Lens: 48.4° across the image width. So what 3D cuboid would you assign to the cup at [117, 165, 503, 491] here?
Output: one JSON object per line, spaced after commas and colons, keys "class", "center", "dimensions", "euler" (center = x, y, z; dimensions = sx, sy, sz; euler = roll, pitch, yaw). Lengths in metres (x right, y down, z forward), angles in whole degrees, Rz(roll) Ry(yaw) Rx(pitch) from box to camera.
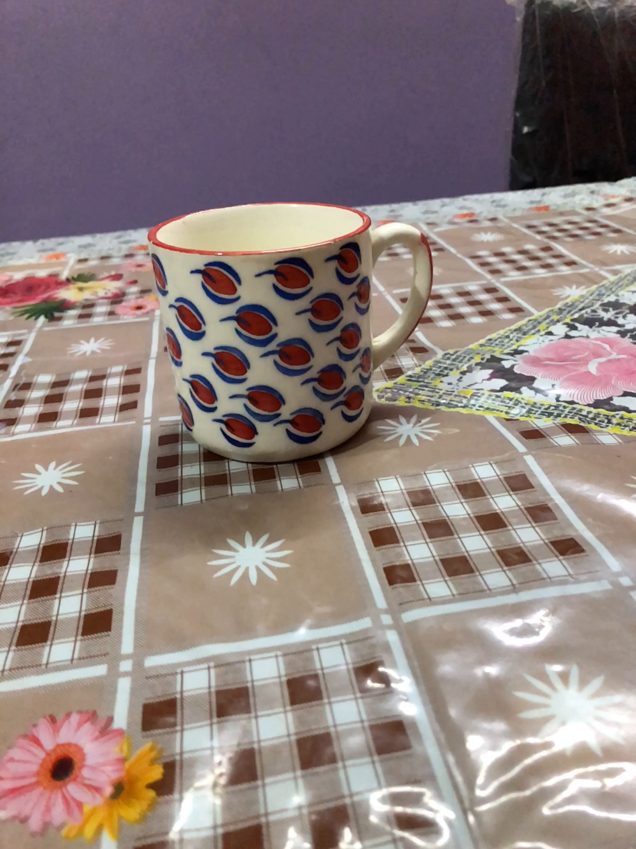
{"class": "cup", "center": [-0.005, -0.043, 0.260], "dimensions": [0.110, 0.079, 0.080], "euler": [-14, 30, -19]}
